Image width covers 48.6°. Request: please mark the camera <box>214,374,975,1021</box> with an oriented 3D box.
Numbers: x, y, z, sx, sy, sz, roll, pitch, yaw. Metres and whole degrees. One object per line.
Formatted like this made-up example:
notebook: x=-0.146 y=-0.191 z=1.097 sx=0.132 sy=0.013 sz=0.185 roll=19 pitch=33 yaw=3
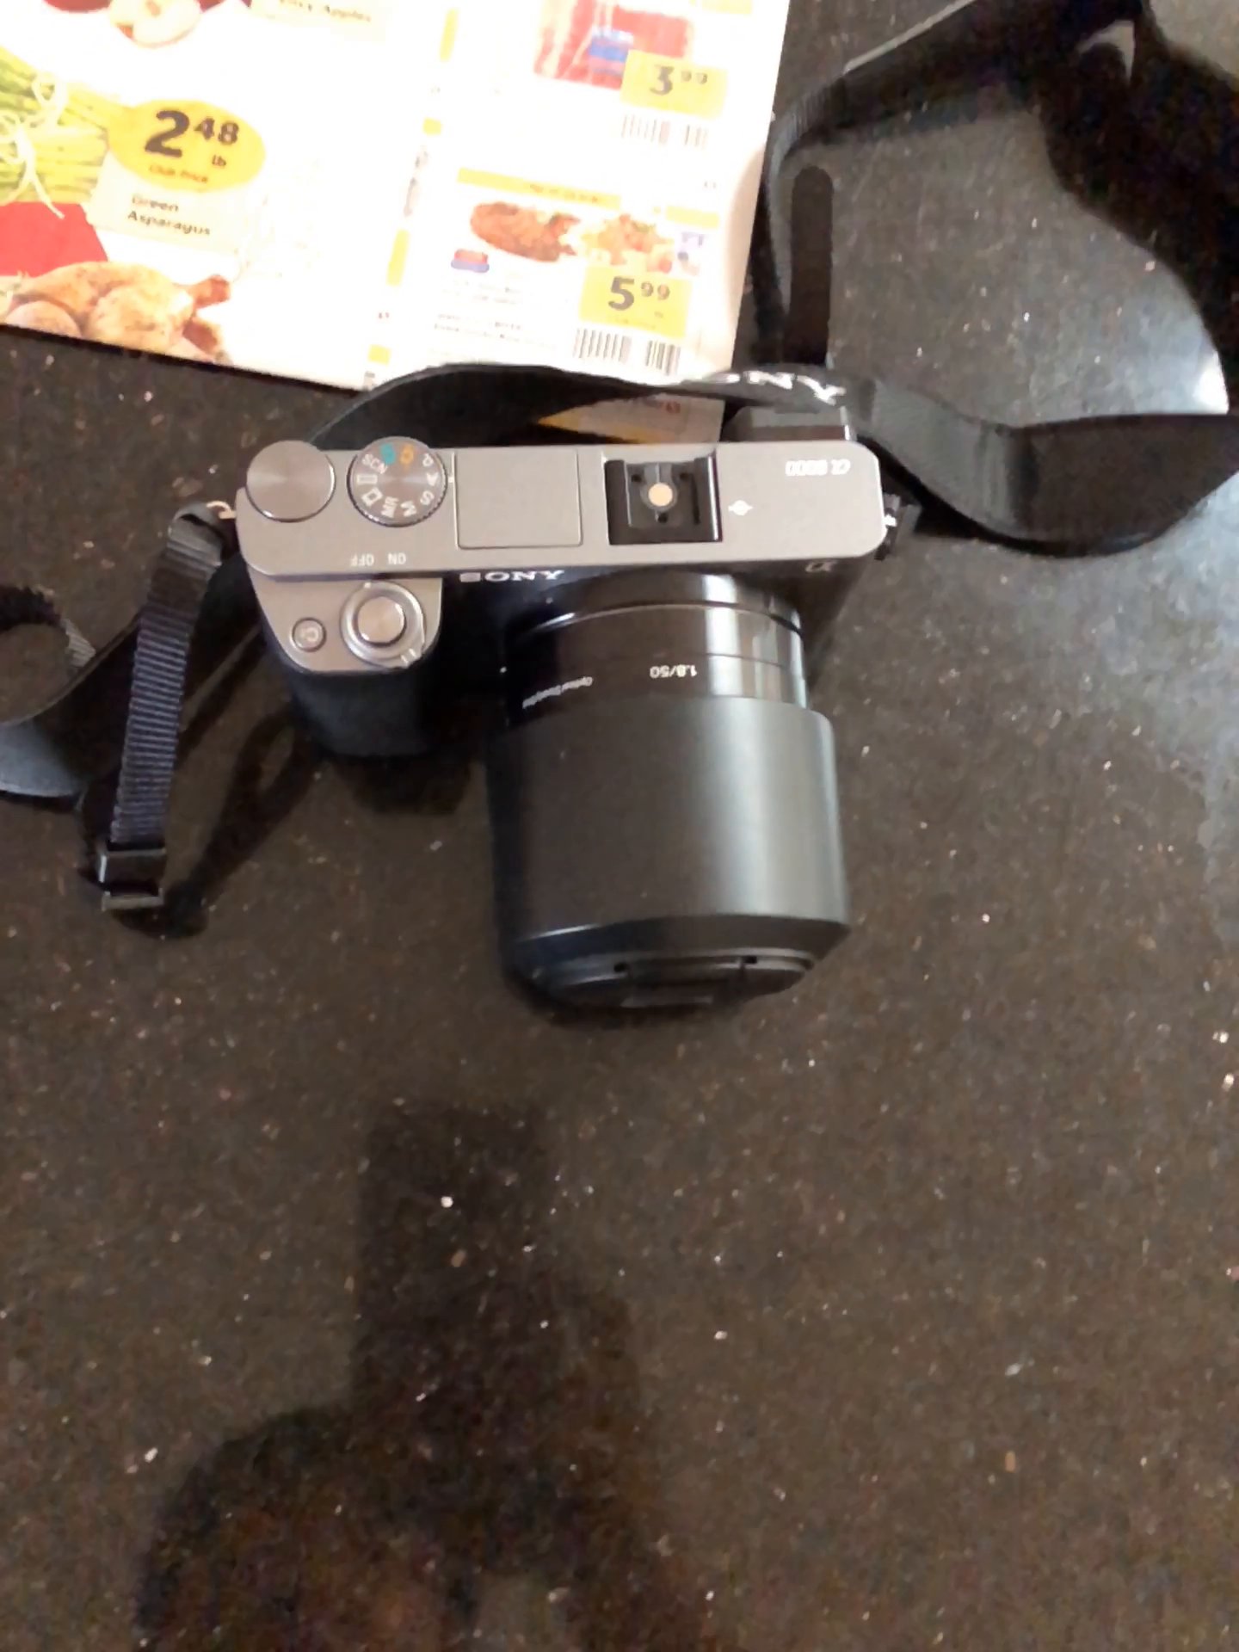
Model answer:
camera: x=-0.009 y=-0.022 z=0.279 sx=0.130 sy=0.070 sz=0.110 roll=-3 pitch=78 yaw=-5
